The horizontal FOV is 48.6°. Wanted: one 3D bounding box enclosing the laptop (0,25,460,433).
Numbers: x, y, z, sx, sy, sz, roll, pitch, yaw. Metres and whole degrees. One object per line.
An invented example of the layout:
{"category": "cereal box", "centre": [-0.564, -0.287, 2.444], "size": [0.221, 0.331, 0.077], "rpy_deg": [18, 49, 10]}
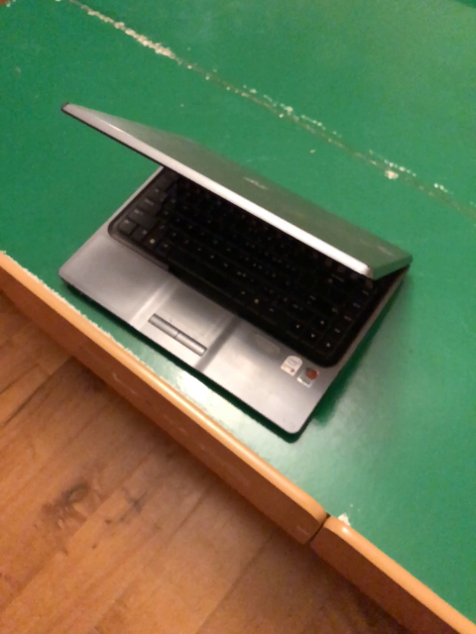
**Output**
{"category": "laptop", "centre": [-0.007, -0.090, 0.521], "size": [0.316, 0.171, 0.227], "rpy_deg": [32, 69, 17]}
